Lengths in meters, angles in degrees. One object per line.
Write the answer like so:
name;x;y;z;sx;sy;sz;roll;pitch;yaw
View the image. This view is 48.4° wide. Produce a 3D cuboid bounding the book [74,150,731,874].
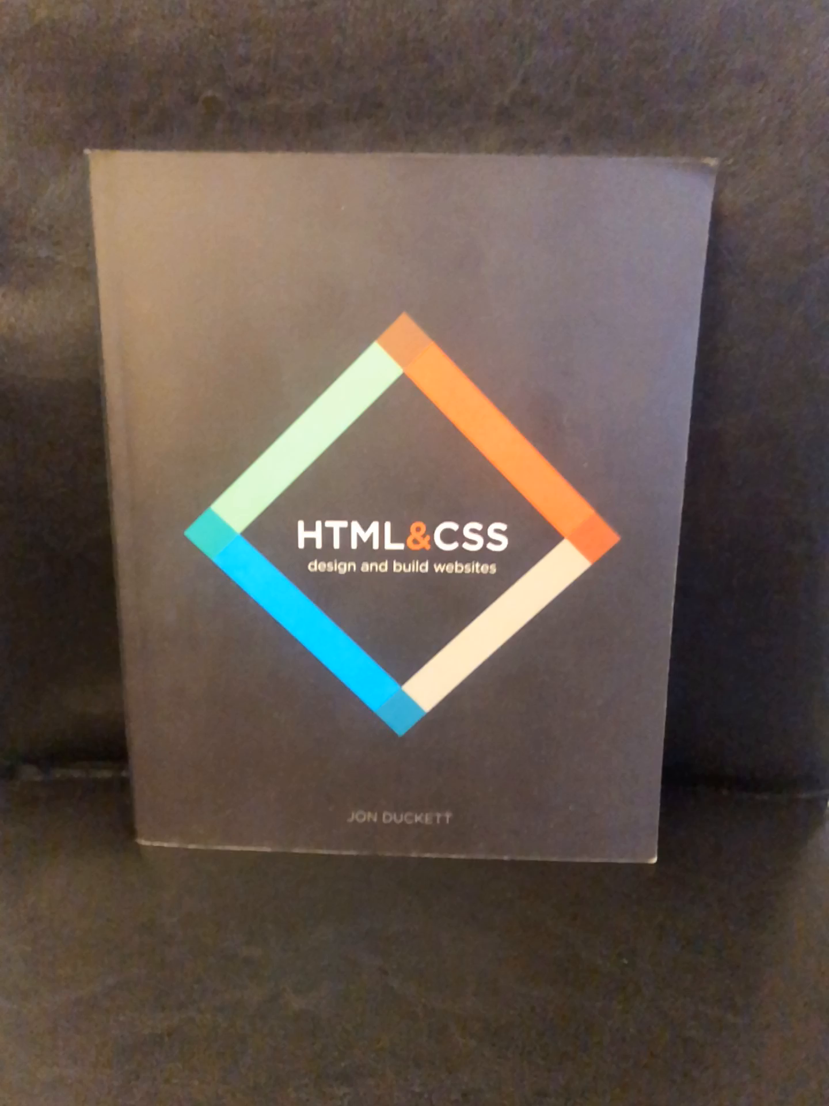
book;-0.005;-0.007;0.307;0.188;0.231;0.030;1;15;2
